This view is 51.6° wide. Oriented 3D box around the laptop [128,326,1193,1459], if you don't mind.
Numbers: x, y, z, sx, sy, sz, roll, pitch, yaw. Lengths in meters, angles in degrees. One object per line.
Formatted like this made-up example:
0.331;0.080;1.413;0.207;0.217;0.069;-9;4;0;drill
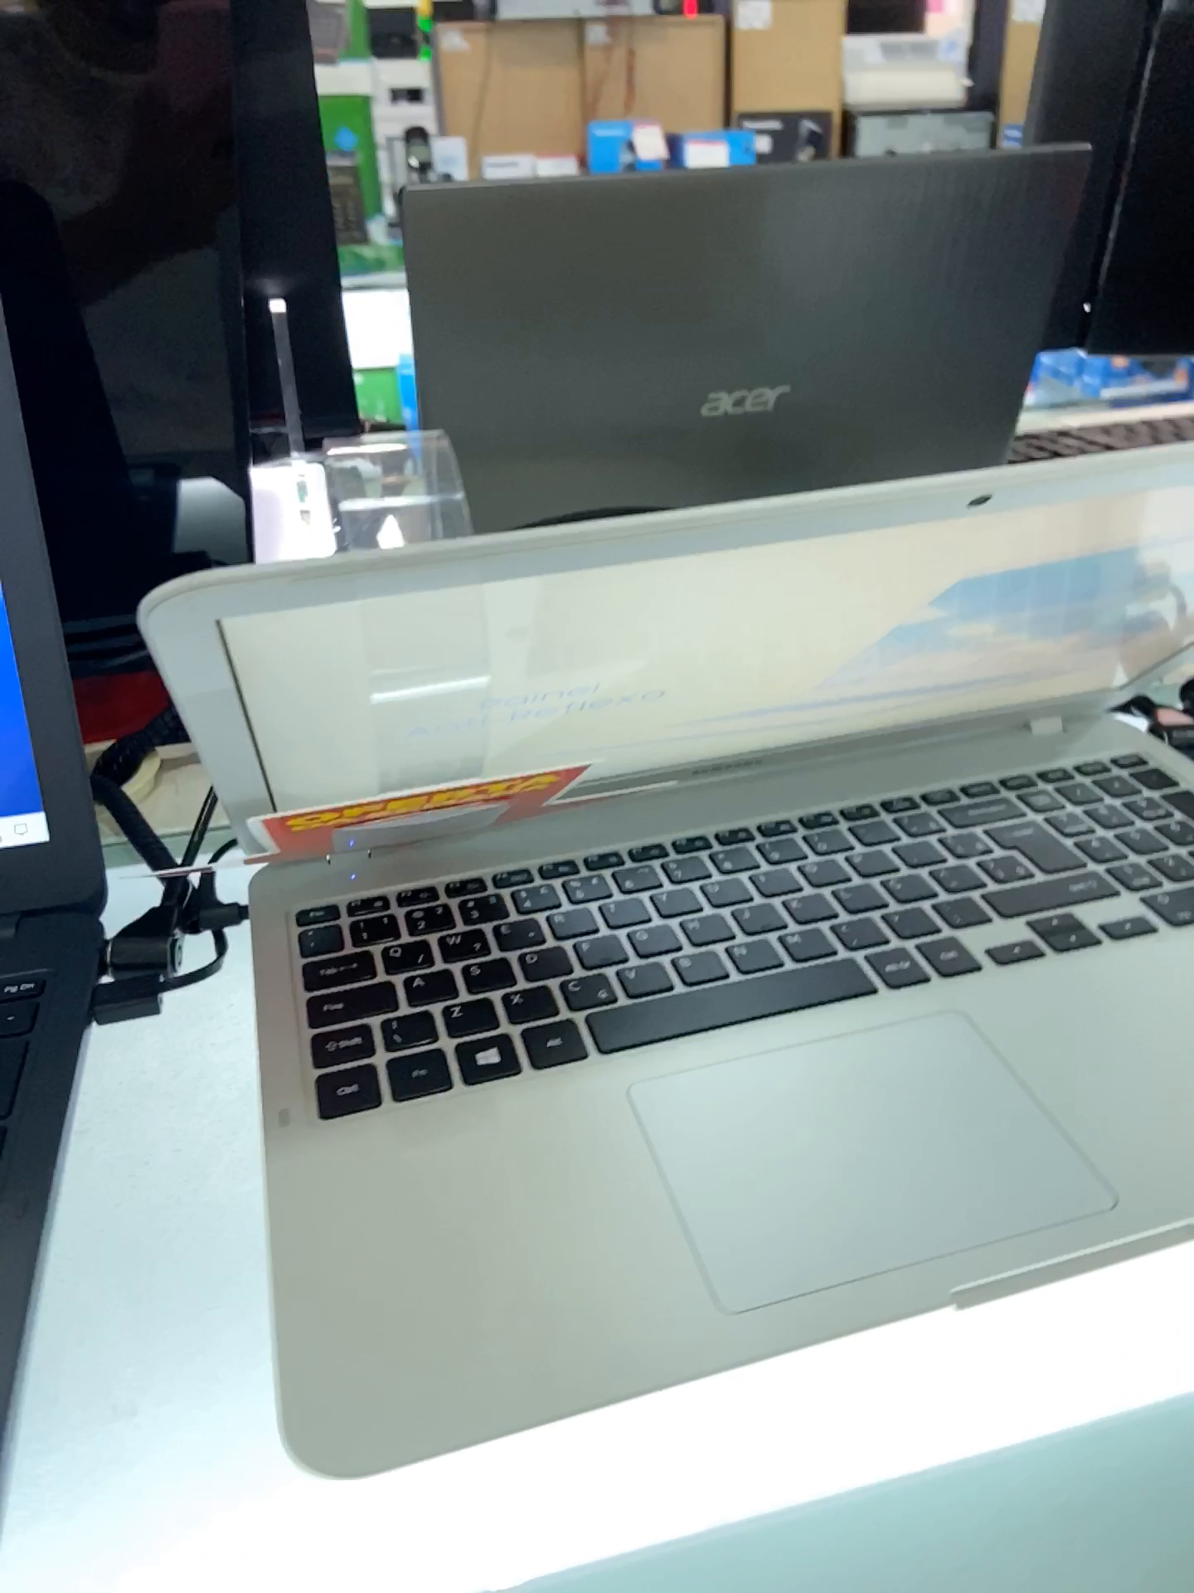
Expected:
0.081;-0.018;0.357;0.367;0.162;0.233;-10;30;-13;laptop
